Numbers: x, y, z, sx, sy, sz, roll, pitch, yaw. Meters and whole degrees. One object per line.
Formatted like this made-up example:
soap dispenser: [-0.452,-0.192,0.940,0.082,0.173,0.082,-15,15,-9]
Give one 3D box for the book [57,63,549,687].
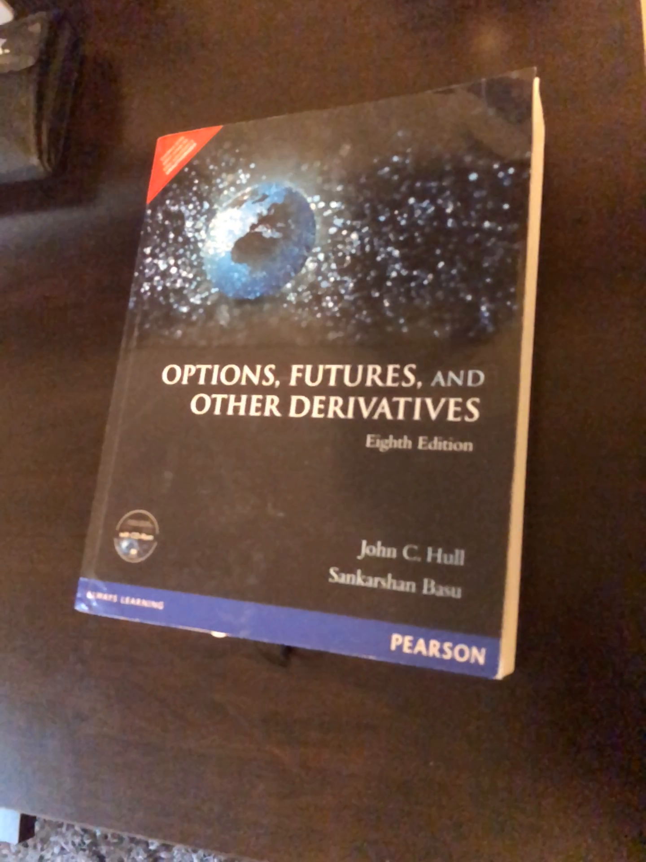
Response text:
book: [-0.007,-0.032,0.347,0.208,0.050,0.261,2,78,22]
